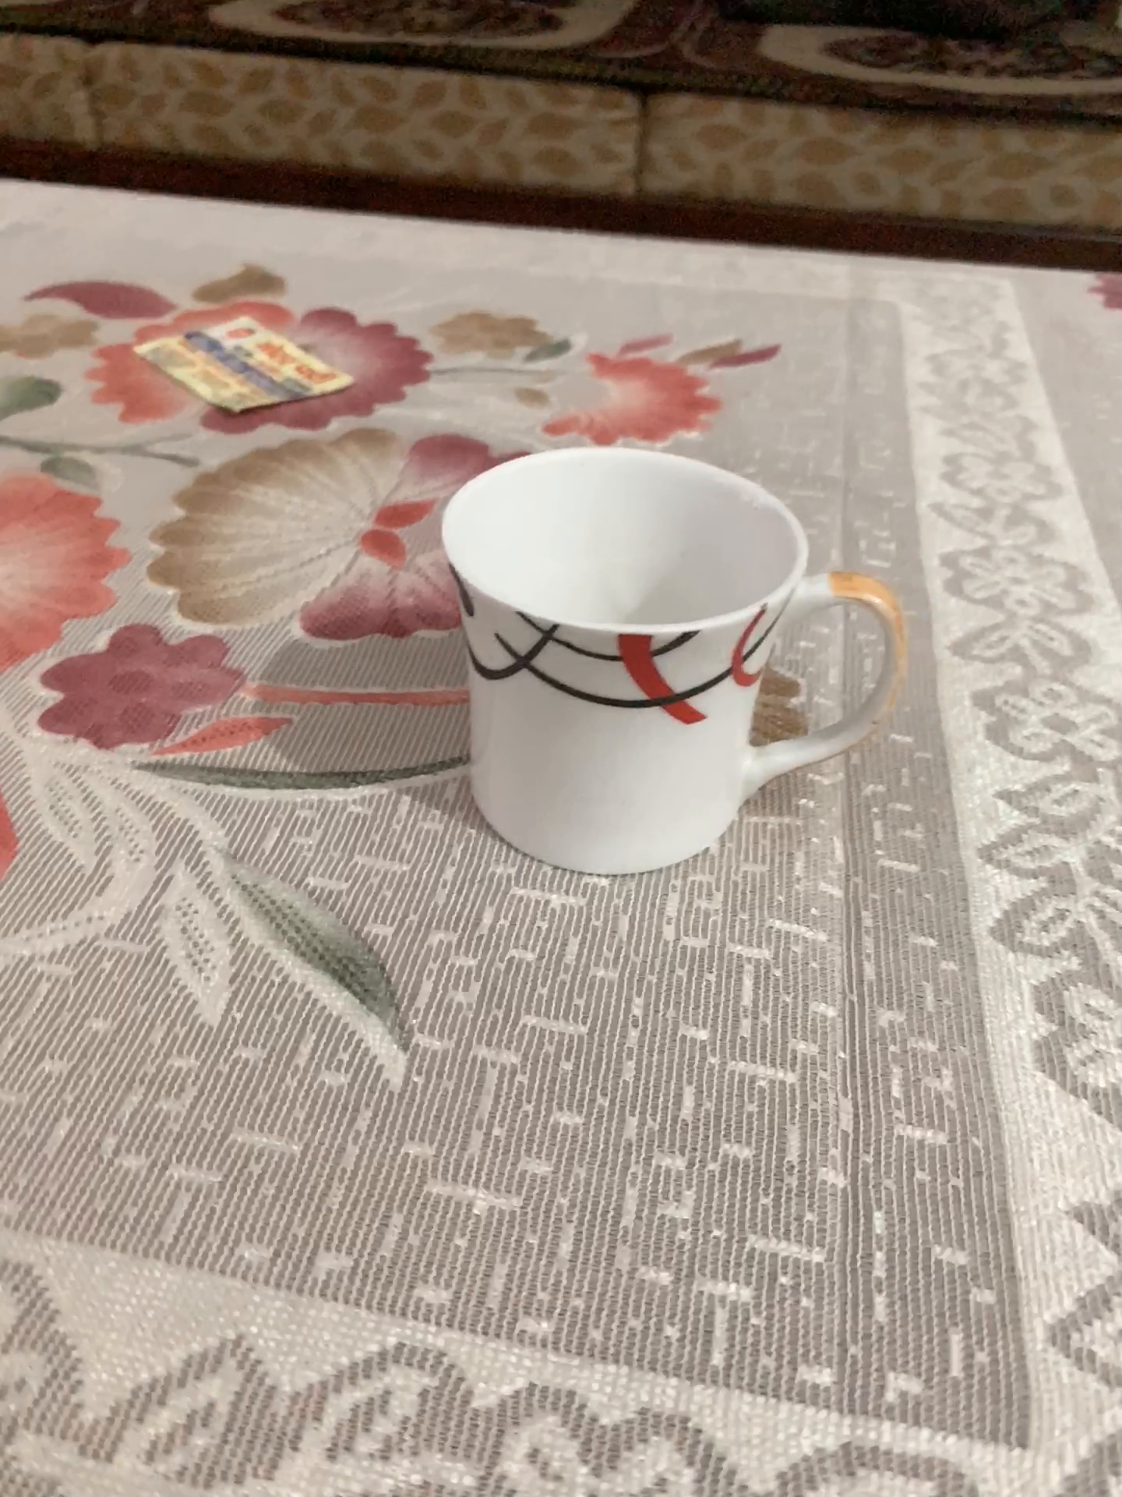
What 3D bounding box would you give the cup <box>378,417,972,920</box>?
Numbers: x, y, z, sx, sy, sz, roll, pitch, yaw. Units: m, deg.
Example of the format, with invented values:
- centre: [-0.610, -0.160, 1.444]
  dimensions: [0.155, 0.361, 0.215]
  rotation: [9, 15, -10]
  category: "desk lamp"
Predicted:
- centre: [0.019, -0.018, 0.223]
  dimensions: [0.090, 0.060, 0.070]
  rotation: [4, 39, 3]
  category: "cup"
